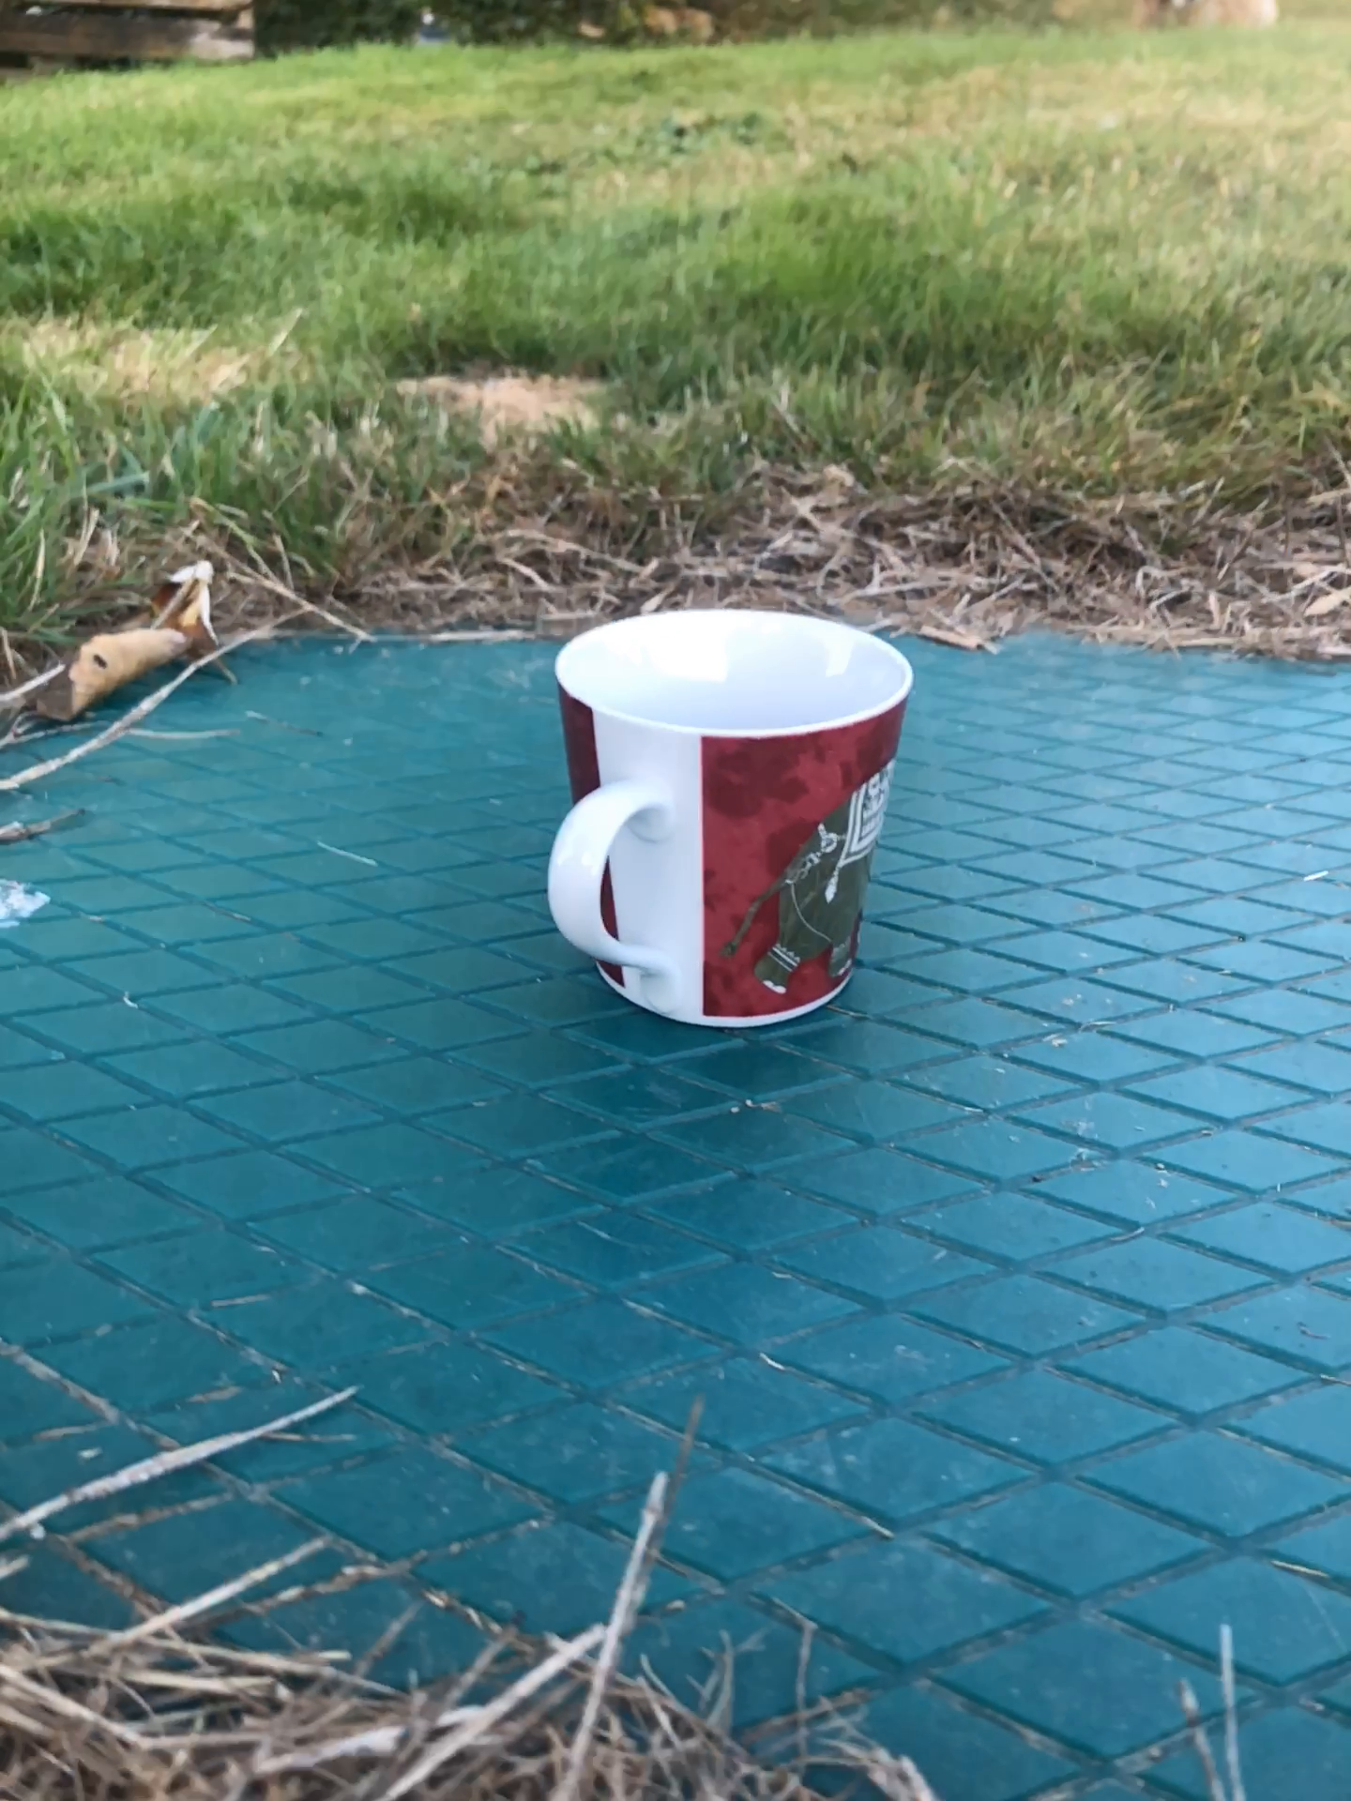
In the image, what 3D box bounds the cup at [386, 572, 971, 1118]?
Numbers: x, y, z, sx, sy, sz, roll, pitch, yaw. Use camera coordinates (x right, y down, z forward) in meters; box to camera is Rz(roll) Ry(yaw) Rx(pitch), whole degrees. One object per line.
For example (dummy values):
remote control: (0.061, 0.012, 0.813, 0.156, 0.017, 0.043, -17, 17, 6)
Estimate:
cup: (0.006, -0.021, 0.335, 0.082, 0.070, 0.110, 15, 31, 26)
